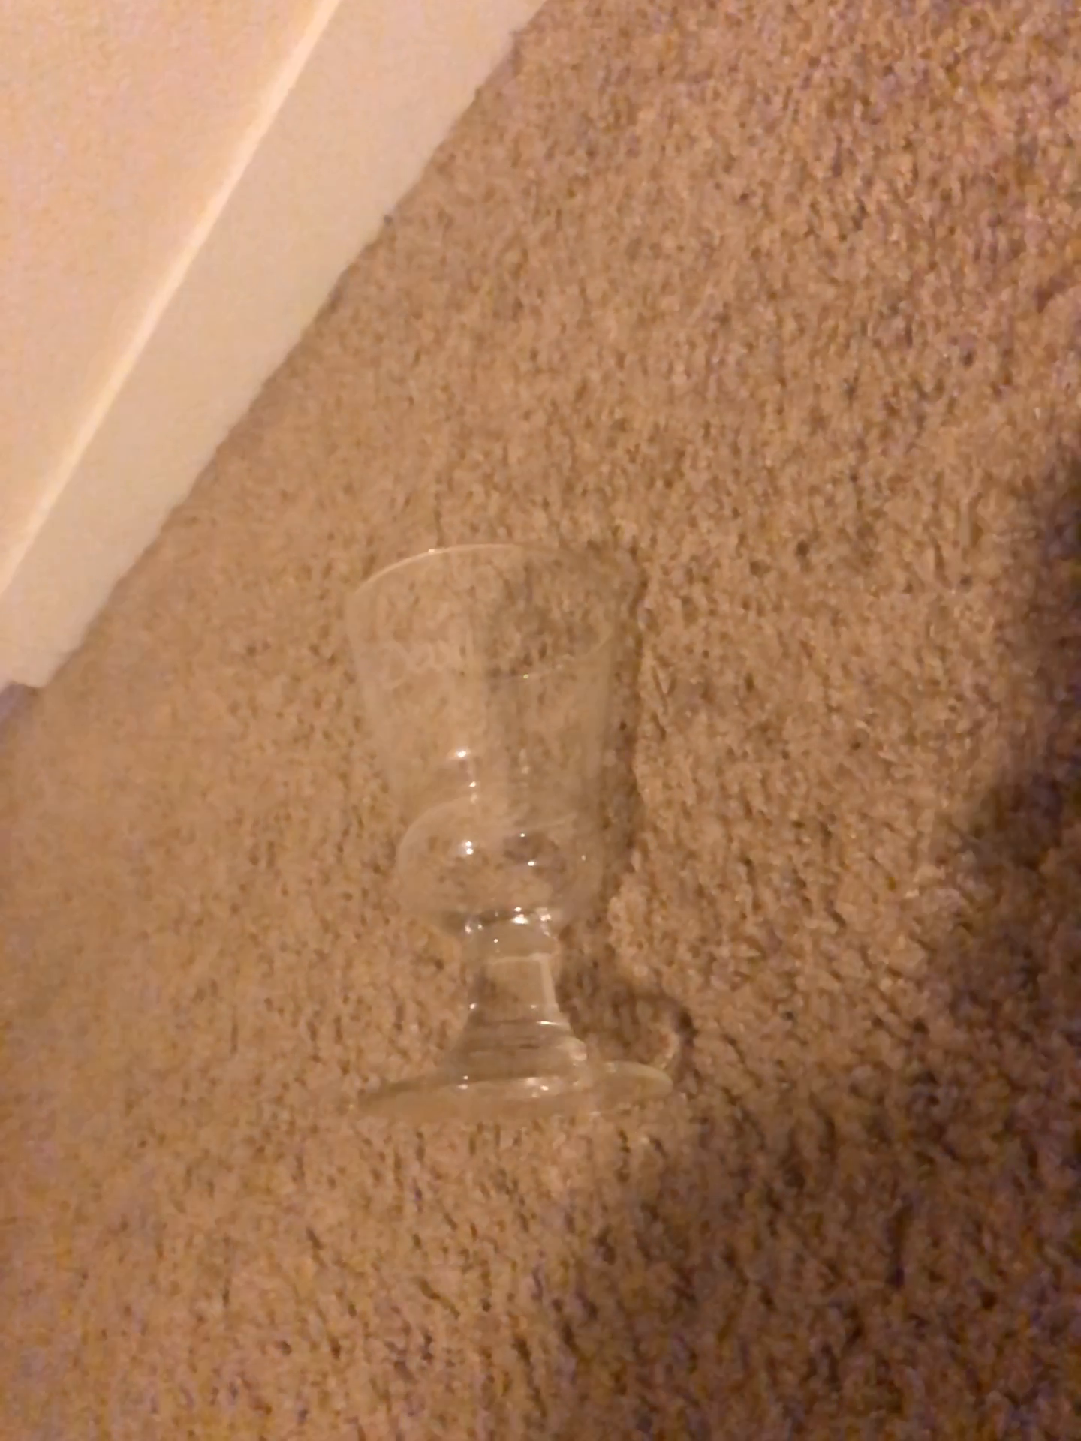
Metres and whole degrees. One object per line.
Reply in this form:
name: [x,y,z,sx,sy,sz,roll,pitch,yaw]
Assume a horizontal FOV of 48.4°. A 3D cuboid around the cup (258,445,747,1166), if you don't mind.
cup: [-0.015,0.027,0.323,0.095,0.078,0.158,-38,46,47]
